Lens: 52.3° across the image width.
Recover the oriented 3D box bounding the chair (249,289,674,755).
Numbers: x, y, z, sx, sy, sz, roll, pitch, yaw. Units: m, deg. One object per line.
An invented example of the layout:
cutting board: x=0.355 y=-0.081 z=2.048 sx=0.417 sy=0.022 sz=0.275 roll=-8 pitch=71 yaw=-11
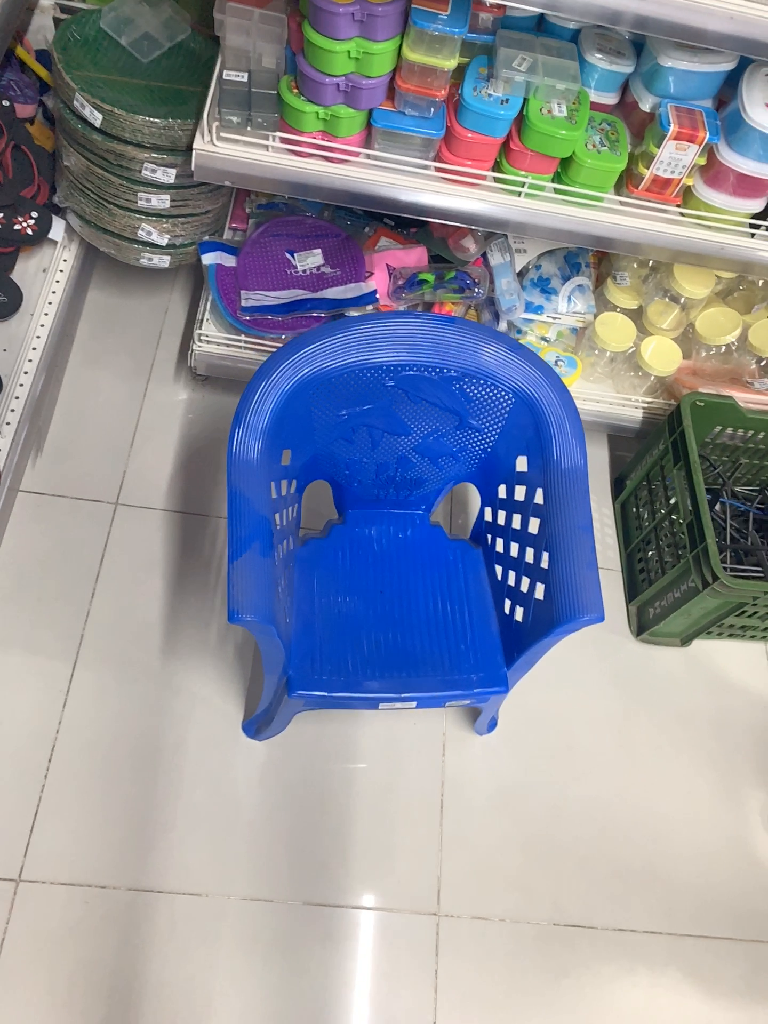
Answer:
chair: x=0.034 y=0.047 z=1.059 sx=0.420 sy=0.469 sz=0.451 roll=1 pitch=63 yaw=-9
